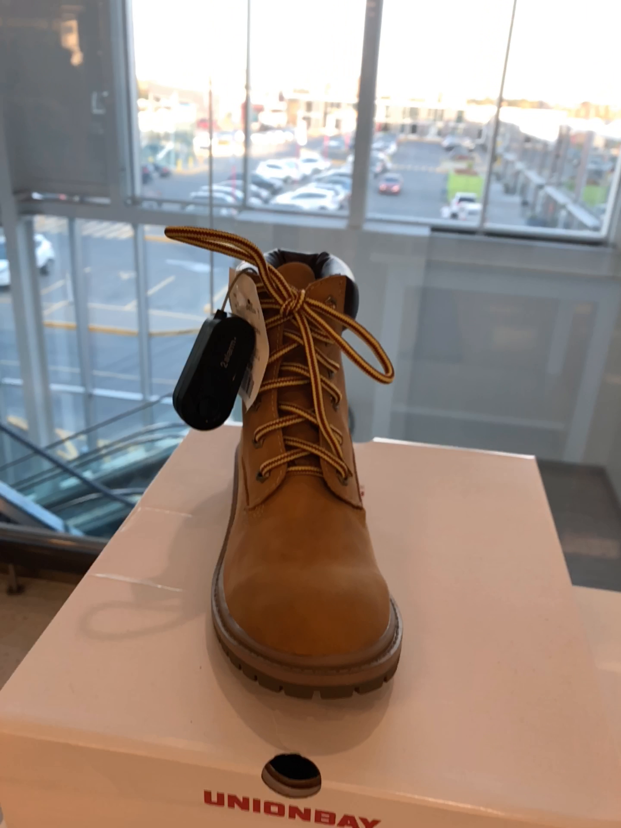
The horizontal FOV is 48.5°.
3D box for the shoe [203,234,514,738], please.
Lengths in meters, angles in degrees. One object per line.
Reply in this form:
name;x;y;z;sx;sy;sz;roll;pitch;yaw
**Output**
shoe;0.001;0.012;0.377;0.107;0.169;0.242;1;25;-6
